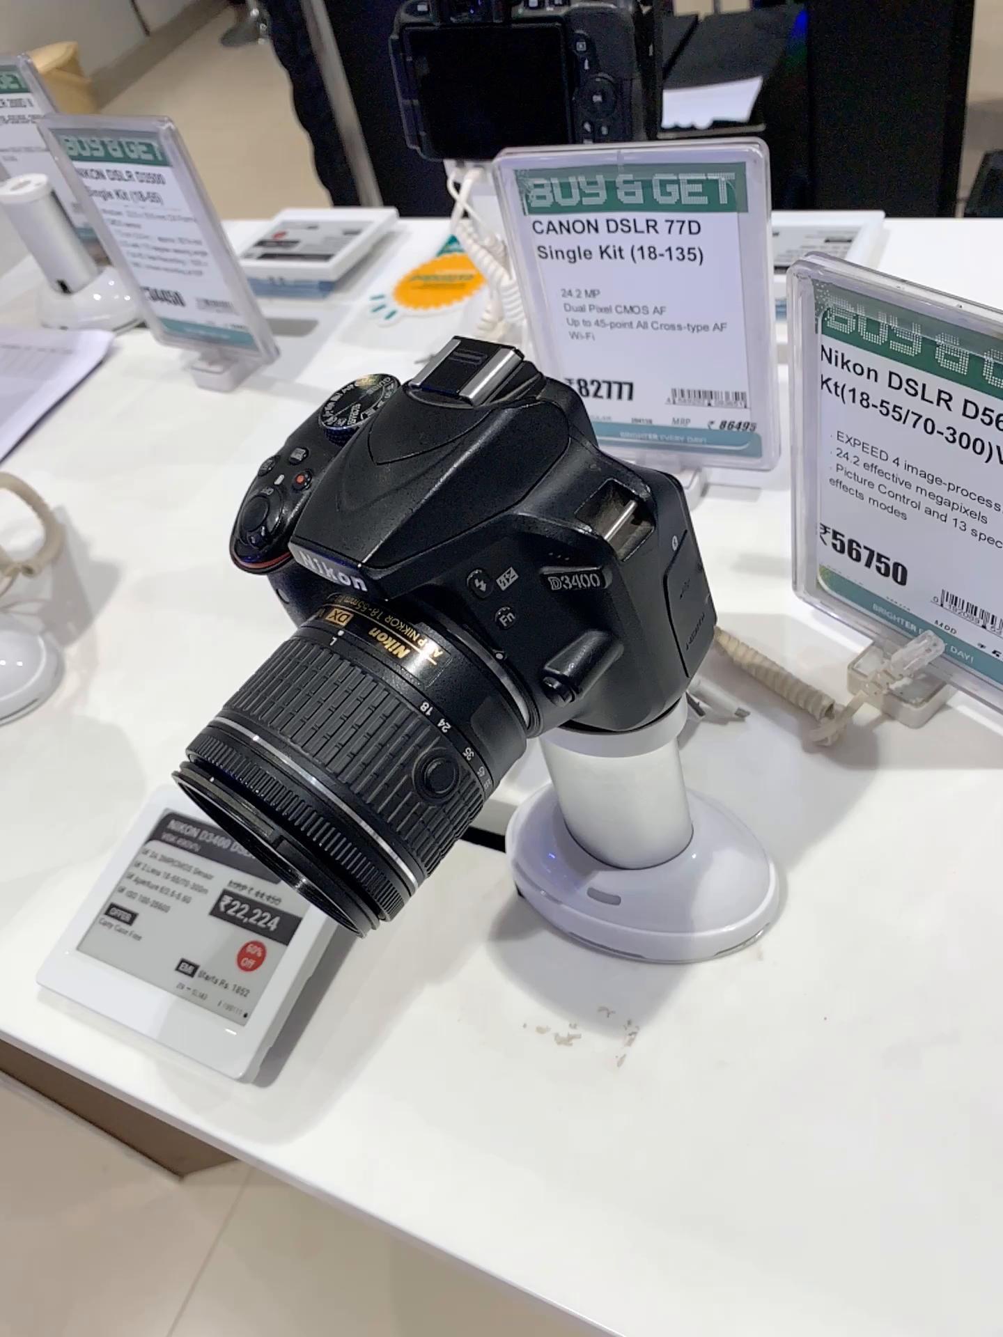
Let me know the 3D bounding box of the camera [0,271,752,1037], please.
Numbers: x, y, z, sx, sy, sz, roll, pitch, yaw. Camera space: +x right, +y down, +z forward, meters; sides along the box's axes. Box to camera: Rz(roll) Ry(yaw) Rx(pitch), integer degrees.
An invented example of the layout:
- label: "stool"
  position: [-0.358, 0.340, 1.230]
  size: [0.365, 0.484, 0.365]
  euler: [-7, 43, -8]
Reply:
- label: "camera"
  position: [-0.029, -0.014, 0.236]
  size: [0.120, 0.080, 0.120]
  euler: [24, 61, 33]
